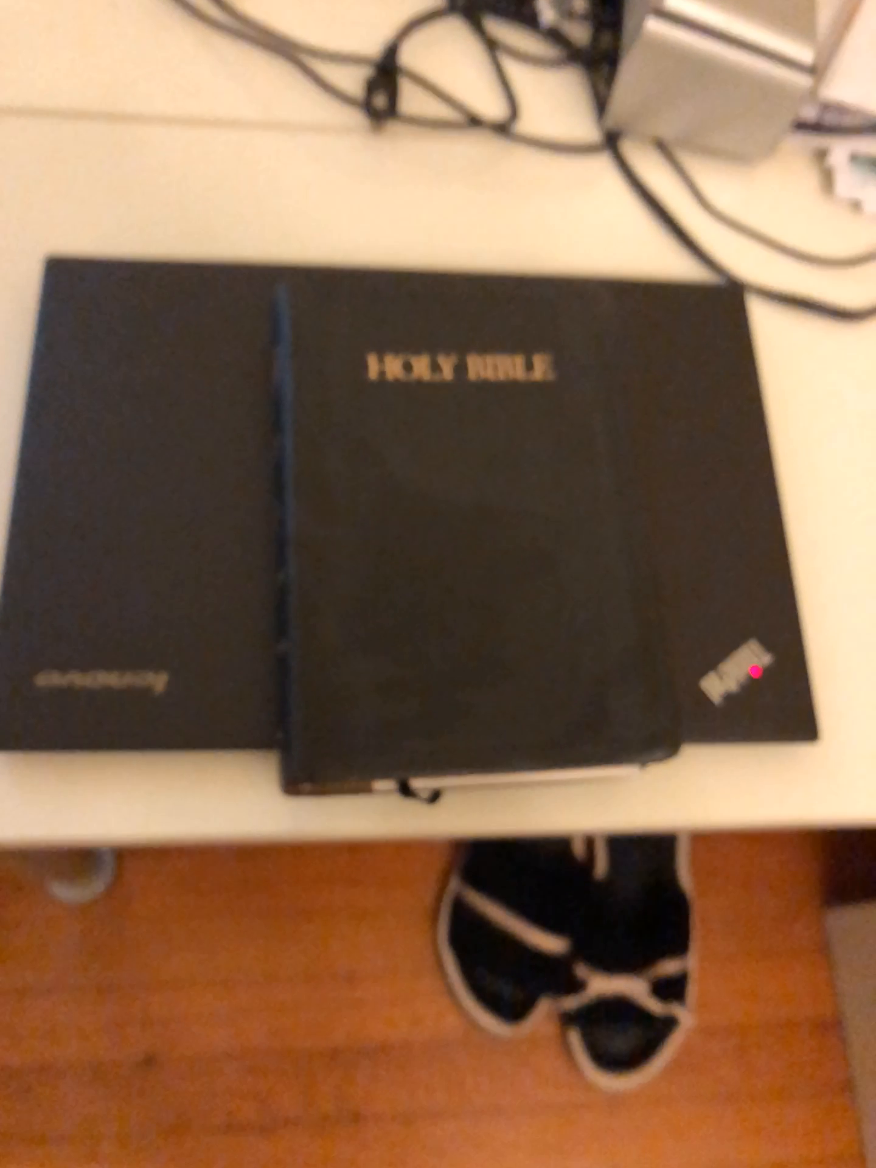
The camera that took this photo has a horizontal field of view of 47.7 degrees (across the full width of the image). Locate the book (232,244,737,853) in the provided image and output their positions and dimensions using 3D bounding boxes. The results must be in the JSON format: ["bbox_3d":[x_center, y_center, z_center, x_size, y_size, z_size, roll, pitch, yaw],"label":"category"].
[{"bbox_3d":[0.008,-0.024,0.393,0.170,0.040,0.241,-2,68,-7],"label":"book"}]
